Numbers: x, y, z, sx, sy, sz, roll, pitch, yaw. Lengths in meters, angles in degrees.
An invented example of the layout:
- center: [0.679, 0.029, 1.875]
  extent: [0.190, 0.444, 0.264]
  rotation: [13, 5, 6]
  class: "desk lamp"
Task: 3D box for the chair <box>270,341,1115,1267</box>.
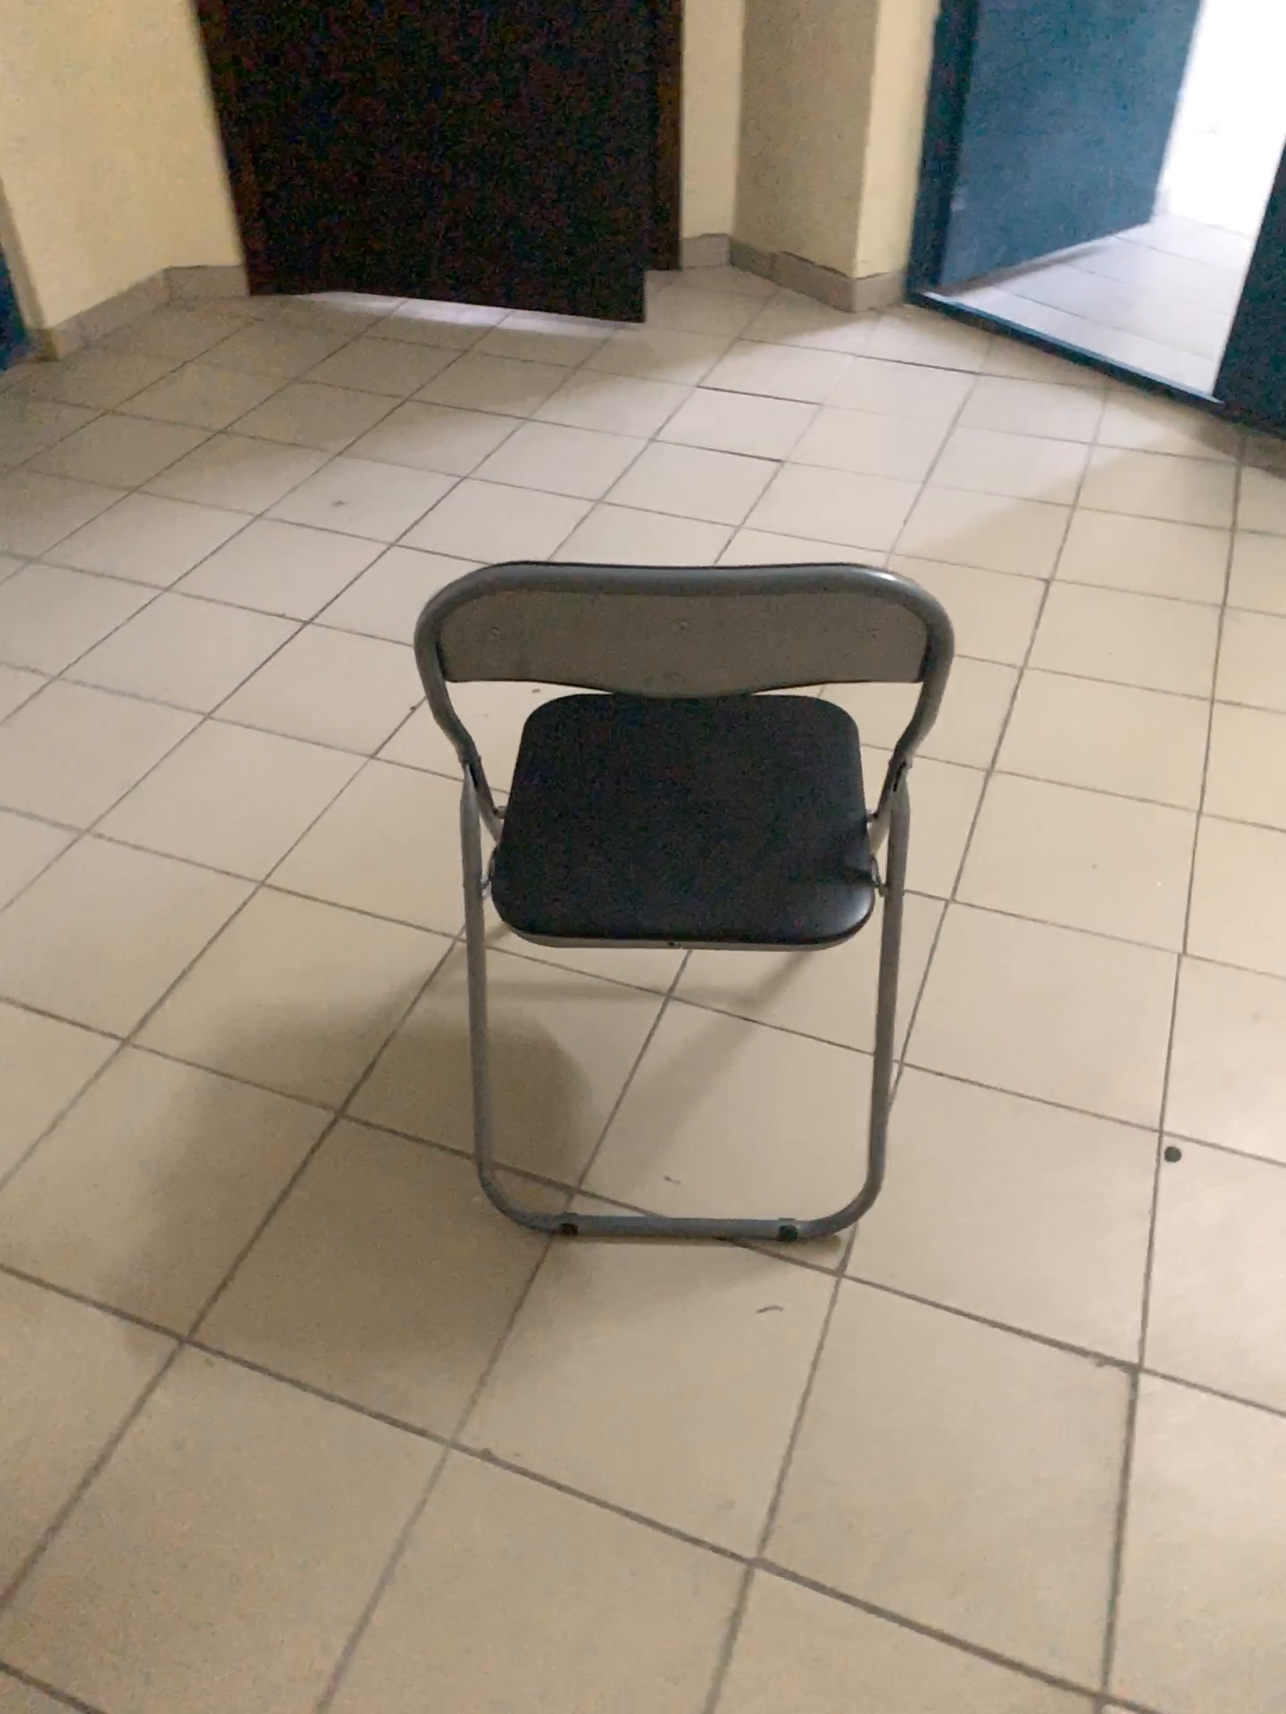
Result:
- center: [0.049, -0.047, 1.333]
  extent: [0.570, 0.727, 0.563]
  rotation: [3, 42, 3]
  class: "chair"
